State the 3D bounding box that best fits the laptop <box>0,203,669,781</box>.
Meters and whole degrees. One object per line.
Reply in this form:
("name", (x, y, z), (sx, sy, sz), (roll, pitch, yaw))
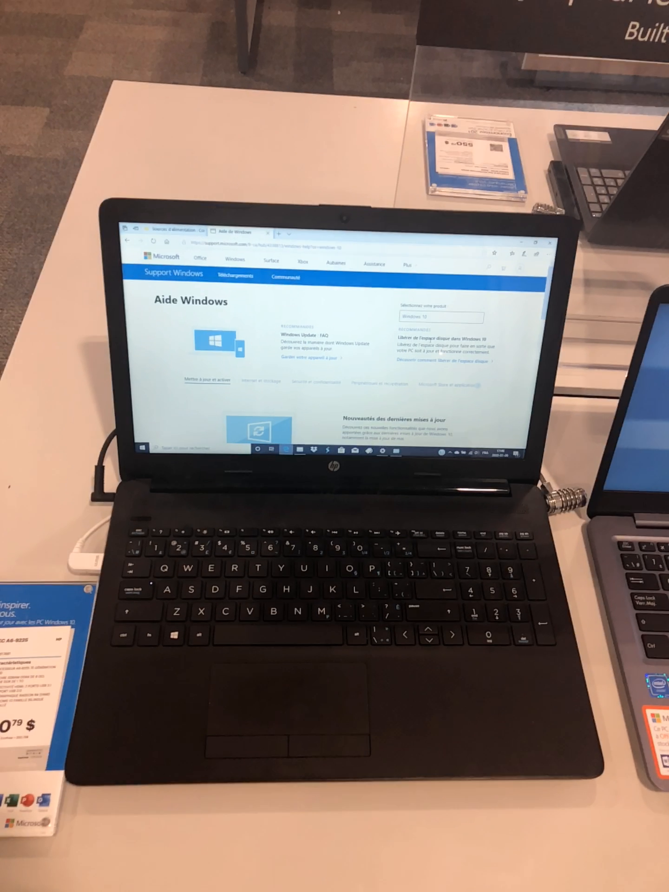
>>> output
("laptop", (0.004, 0.022, 0.525), (0.356, 0.195, 0.360), (1, 52, -2))
